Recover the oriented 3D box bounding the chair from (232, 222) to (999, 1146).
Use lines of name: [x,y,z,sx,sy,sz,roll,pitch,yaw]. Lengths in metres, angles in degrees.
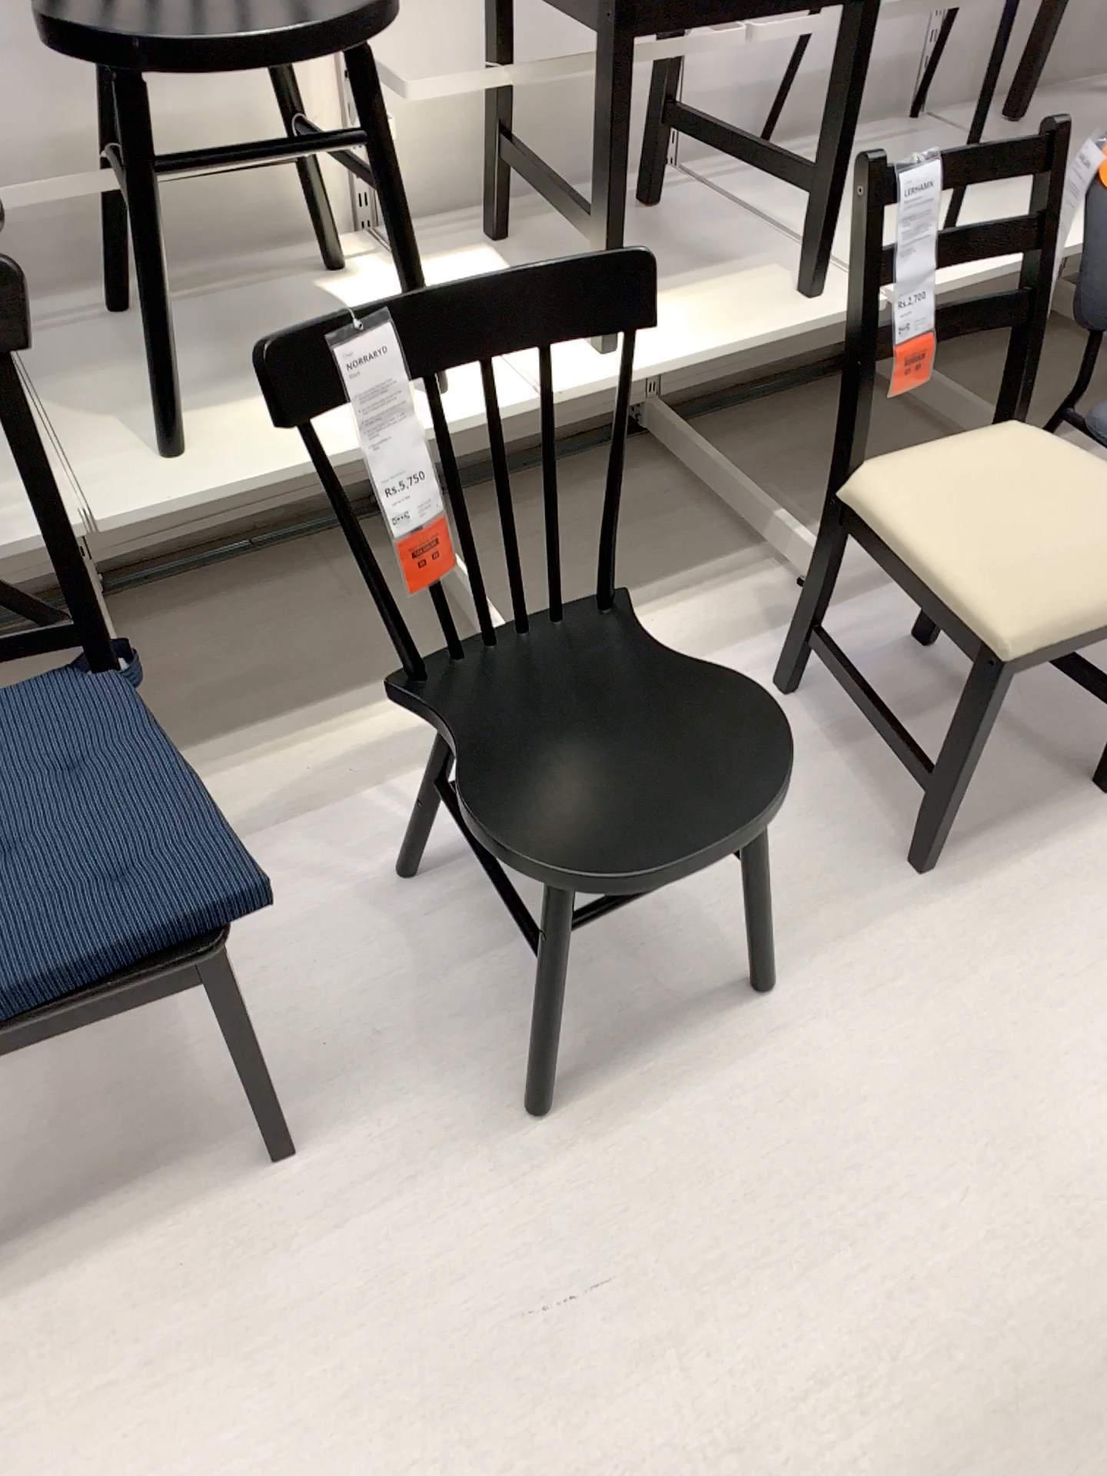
chair: [0.025,-0.043,1.268,0.470,0.787,0.522,-22,50,-20]
